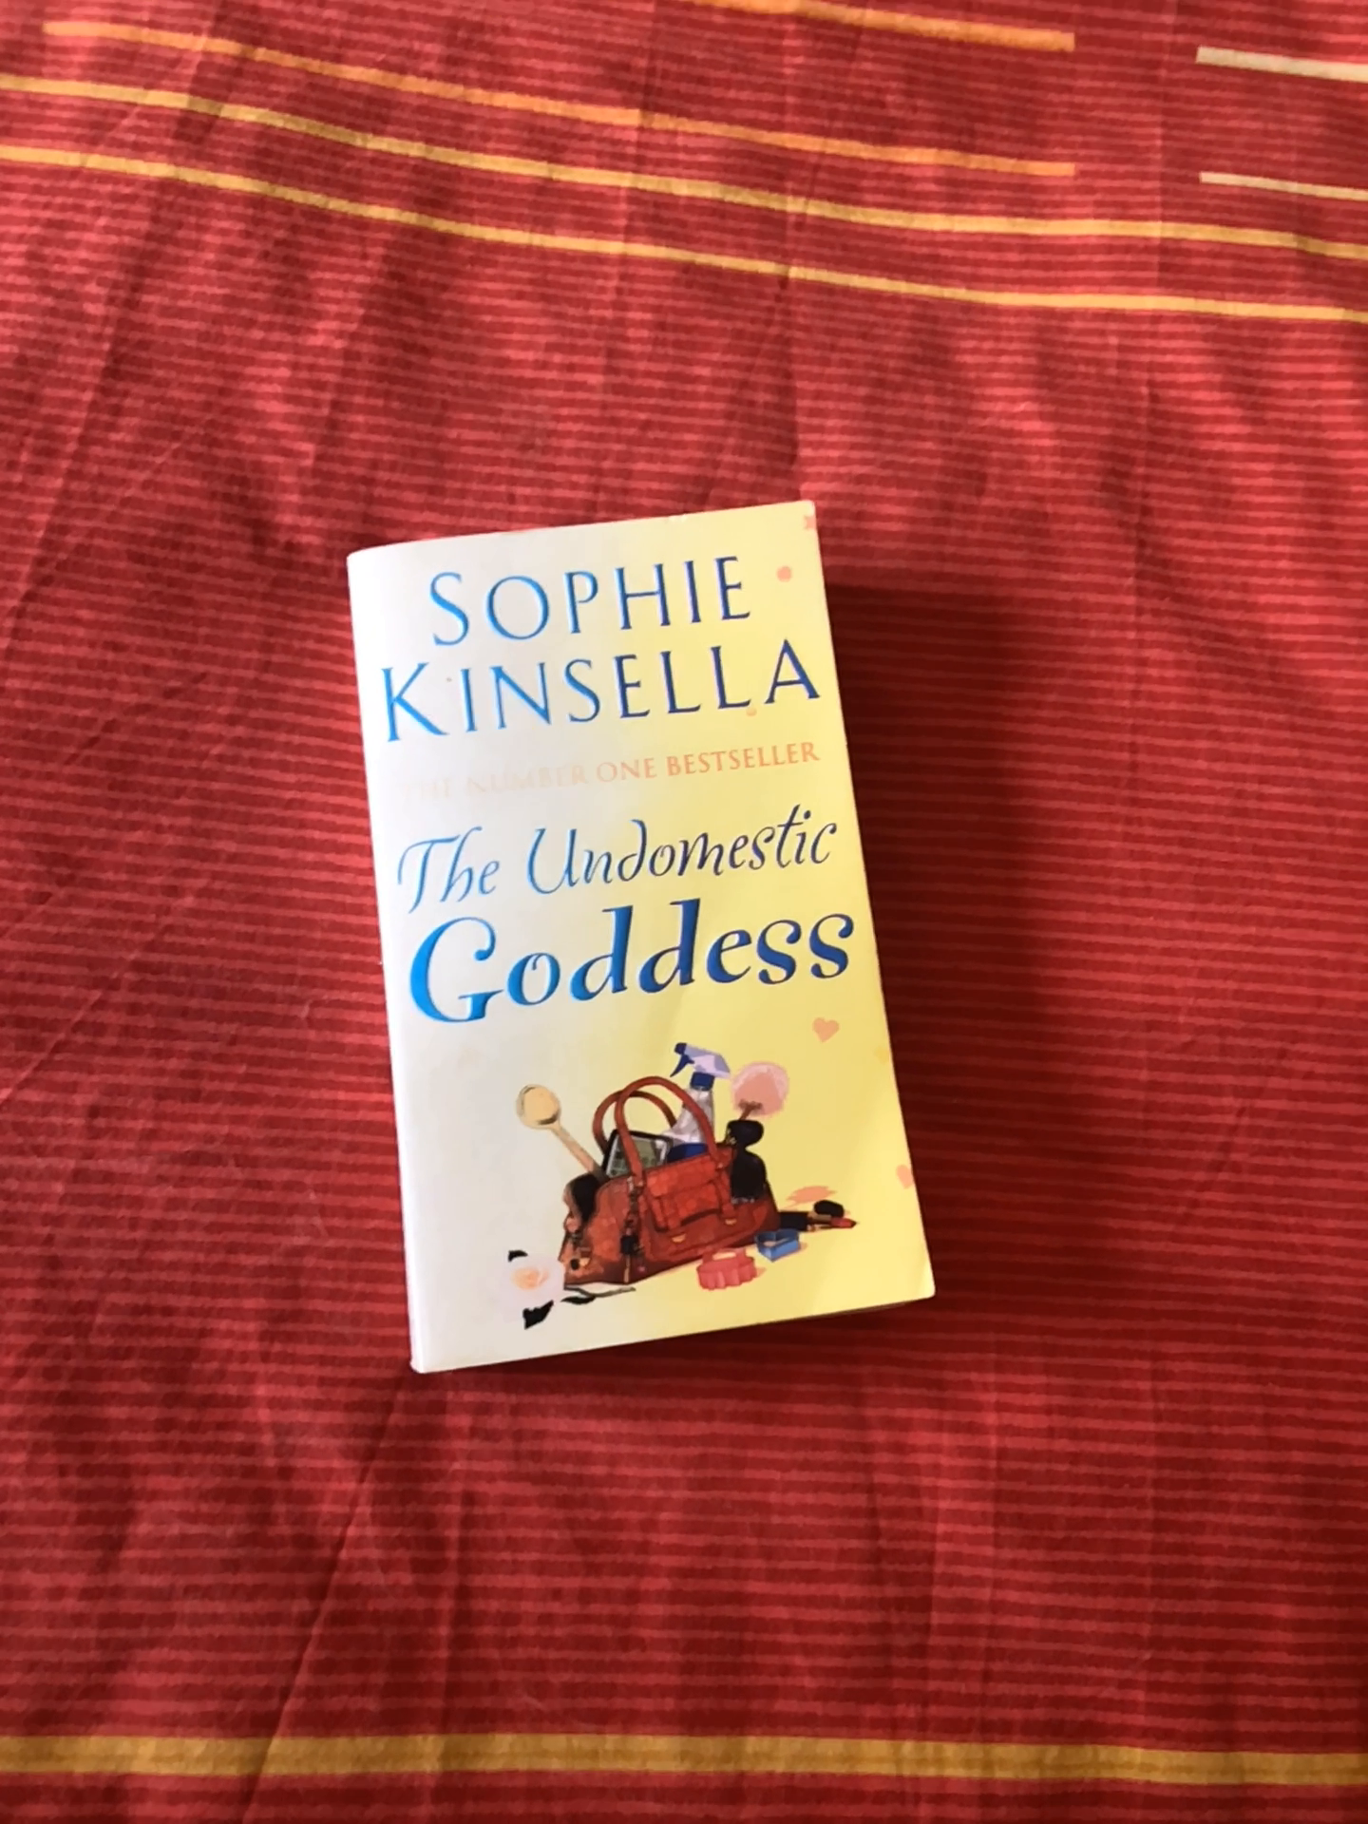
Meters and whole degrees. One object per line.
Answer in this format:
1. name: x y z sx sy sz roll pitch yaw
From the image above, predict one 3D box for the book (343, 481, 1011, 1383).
1. book: -0.005 0.001 0.334 0.120 0.040 0.180 -5 80 -7
